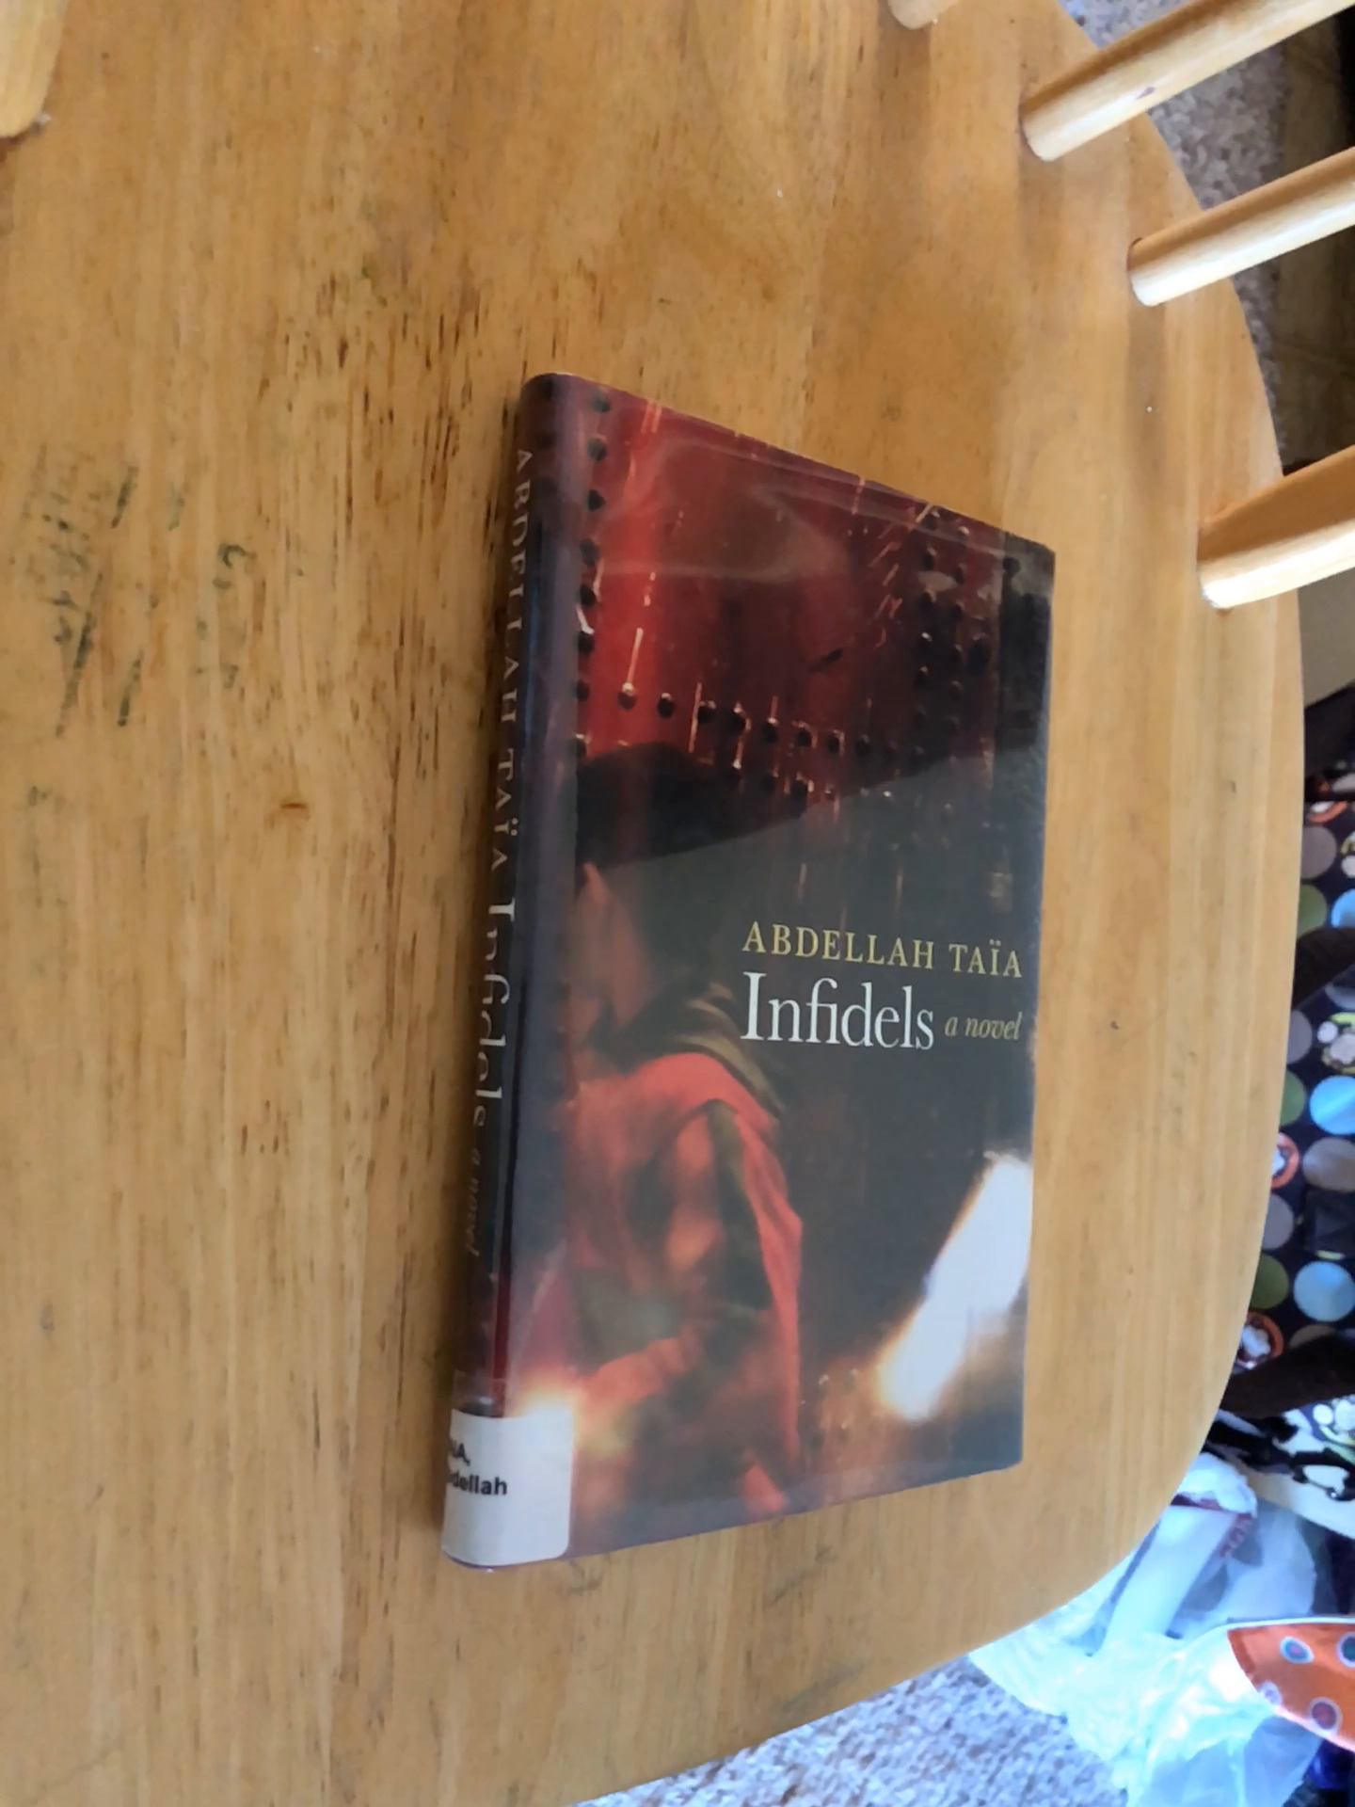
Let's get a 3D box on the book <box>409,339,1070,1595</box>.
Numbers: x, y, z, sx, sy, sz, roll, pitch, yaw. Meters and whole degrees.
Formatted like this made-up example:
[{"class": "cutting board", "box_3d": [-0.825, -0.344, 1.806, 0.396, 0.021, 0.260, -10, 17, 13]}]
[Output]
[{"class": "book", "box_3d": [0.022, 0.015, 0.309, 0.143, 0.020, 0.216, 7, 83, -36]}]
